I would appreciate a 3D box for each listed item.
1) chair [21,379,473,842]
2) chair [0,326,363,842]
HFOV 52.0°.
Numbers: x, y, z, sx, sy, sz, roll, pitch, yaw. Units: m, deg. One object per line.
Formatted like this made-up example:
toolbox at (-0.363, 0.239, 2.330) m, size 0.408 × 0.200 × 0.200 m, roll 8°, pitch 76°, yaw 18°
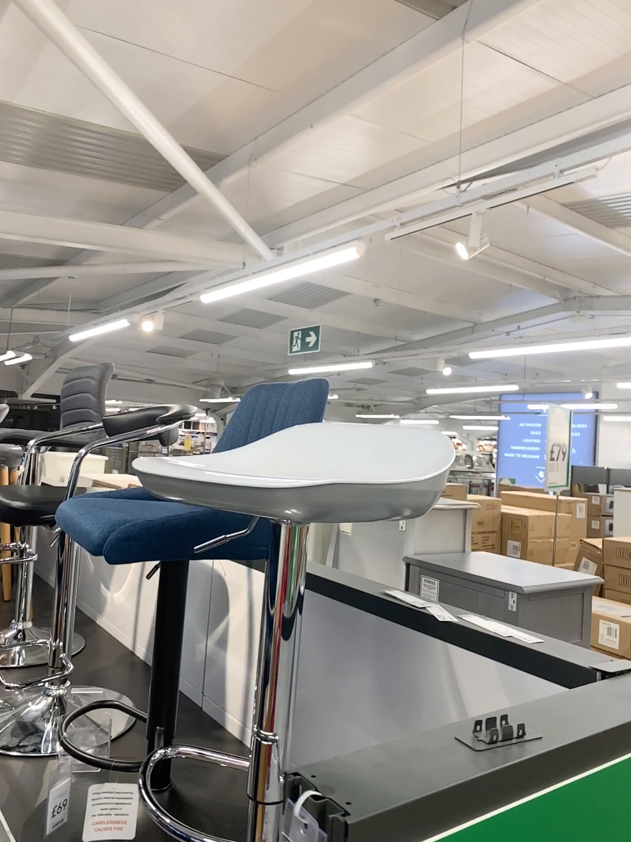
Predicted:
chair at (-0.086, 0.370, 0.899) m, size 0.402 × 0.804 × 0.402 m, roll 1°, pitch -5°, yaw 44°
chair at (-0.295, 0.318, 1.258) m, size 0.482 × 0.884 × 0.532 m, roll 7°, pitch -4°, yaw -41°
